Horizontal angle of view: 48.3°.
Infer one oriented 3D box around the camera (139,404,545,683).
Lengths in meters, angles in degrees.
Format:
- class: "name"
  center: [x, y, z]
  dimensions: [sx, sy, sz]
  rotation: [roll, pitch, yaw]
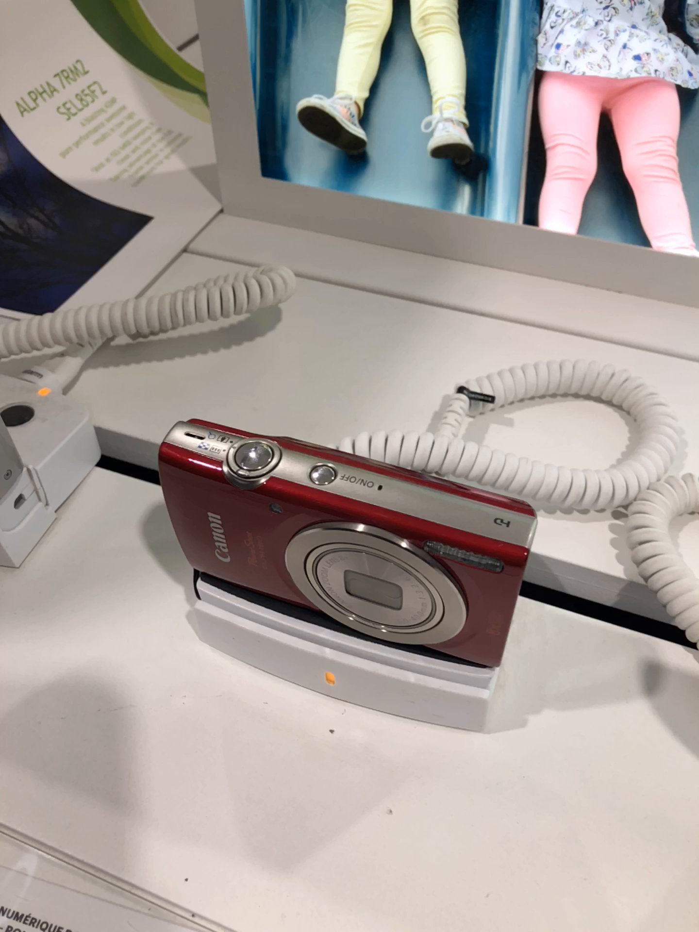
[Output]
- class: "camera"
  center: [-0.003, 0.020, 0.199]
  dimensions: [0.093, 0.050, 0.022]
  rotation: [14, 48, 14]
